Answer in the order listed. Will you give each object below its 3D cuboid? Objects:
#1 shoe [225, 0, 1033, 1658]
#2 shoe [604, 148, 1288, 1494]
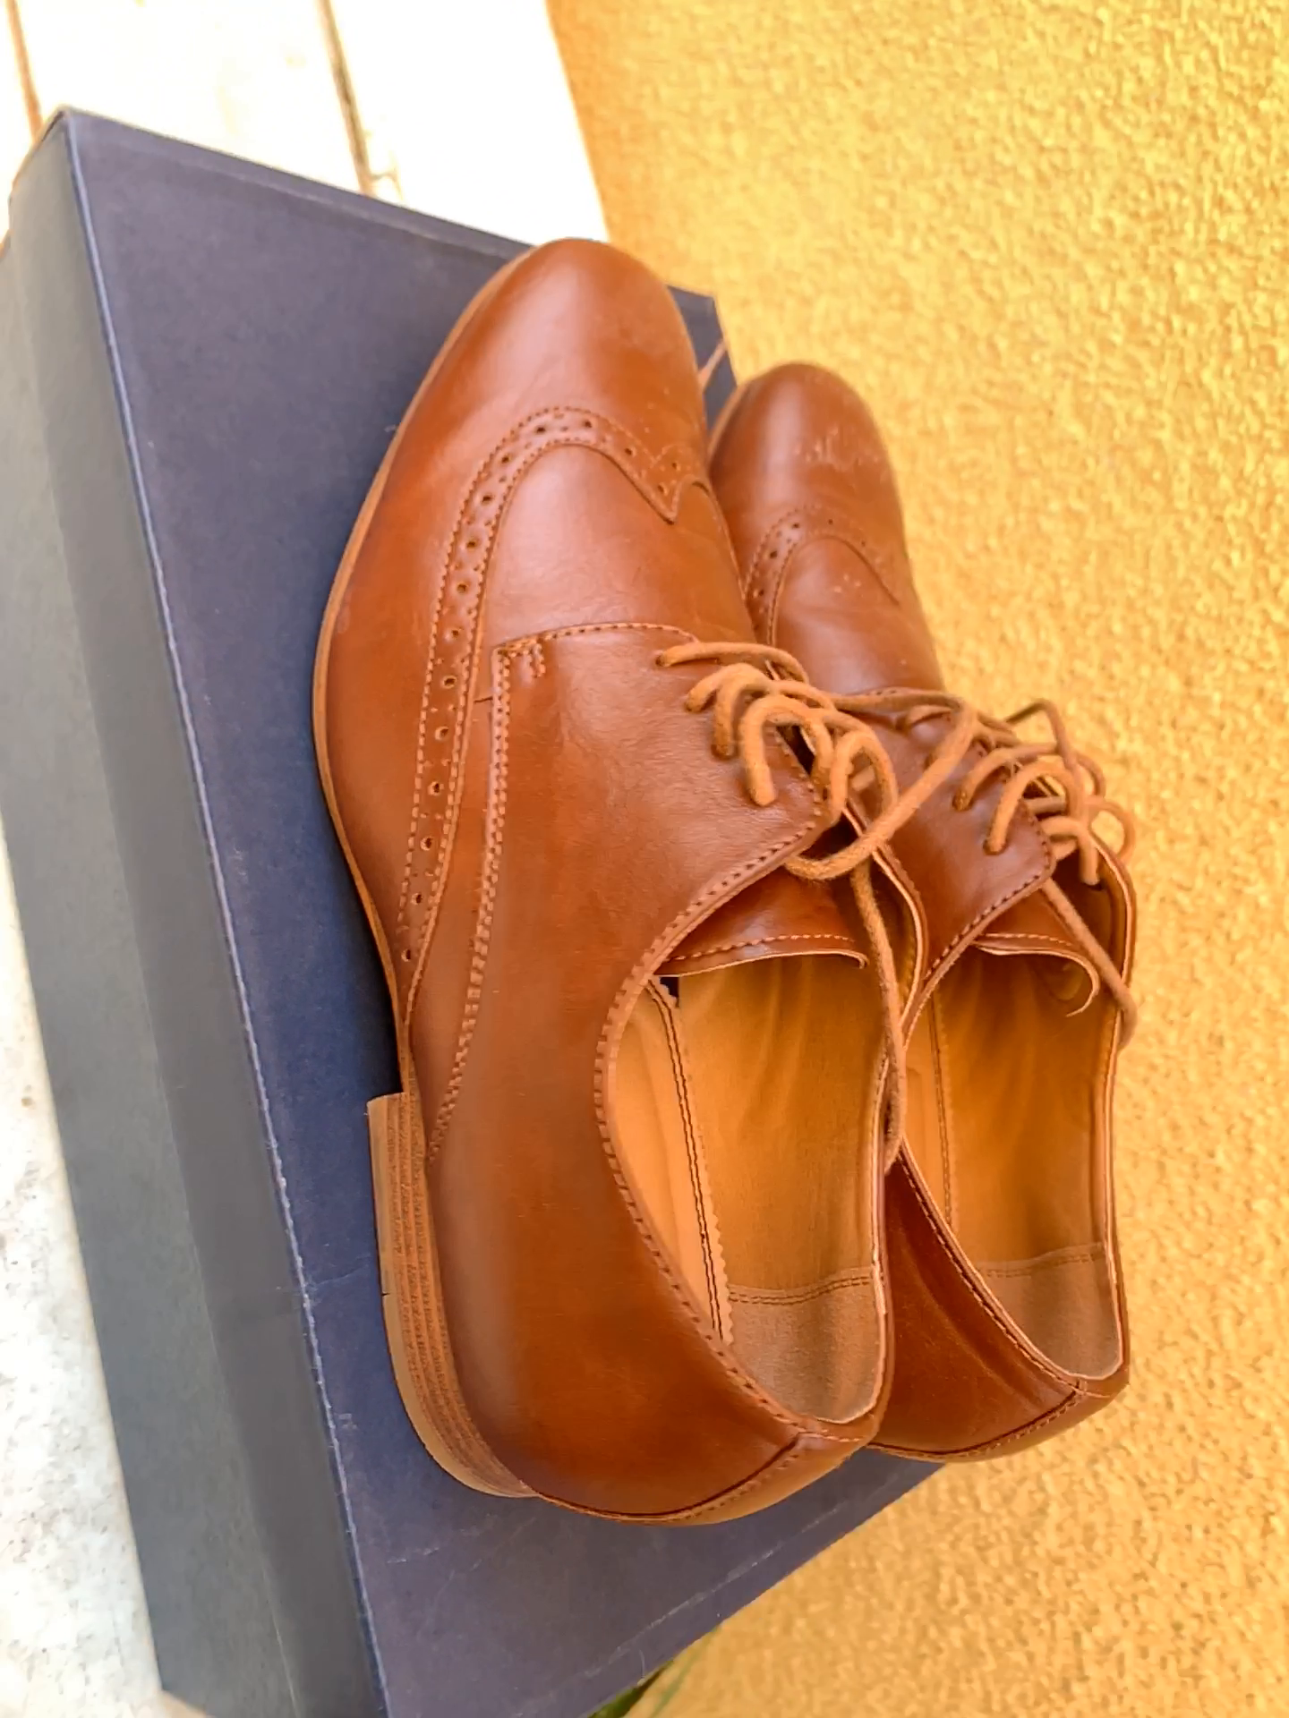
[{"bbox_3d":[-0.010,-0.020,0.286,0.105,0.099,0.301,13,66,-39],"label":"shoe"},{"bbox_3d":[0.068,-0.010,0.352,0.111,0.099,0.301,13,66,-39],"label":"shoe"}]
